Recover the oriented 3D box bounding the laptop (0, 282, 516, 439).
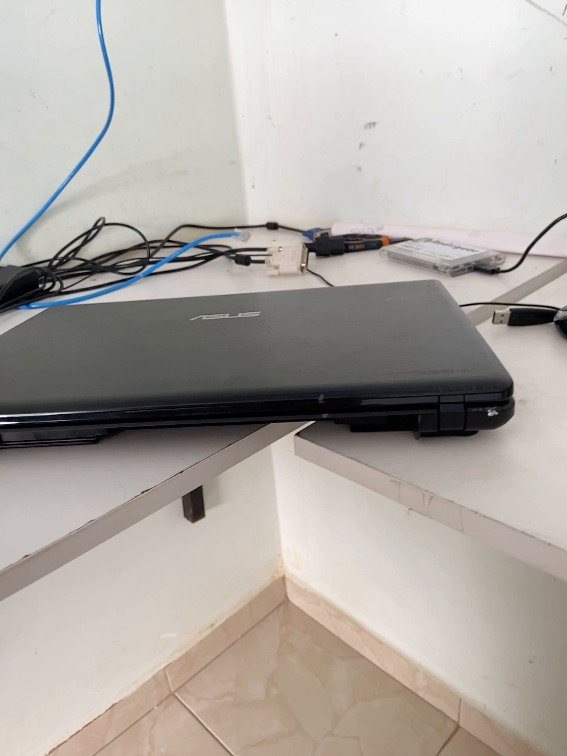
[{"bbox_3d":[-0.055,-0.026,0.450,0.380,0.010,0.254,-4,21,7],"label":"laptop"}]
